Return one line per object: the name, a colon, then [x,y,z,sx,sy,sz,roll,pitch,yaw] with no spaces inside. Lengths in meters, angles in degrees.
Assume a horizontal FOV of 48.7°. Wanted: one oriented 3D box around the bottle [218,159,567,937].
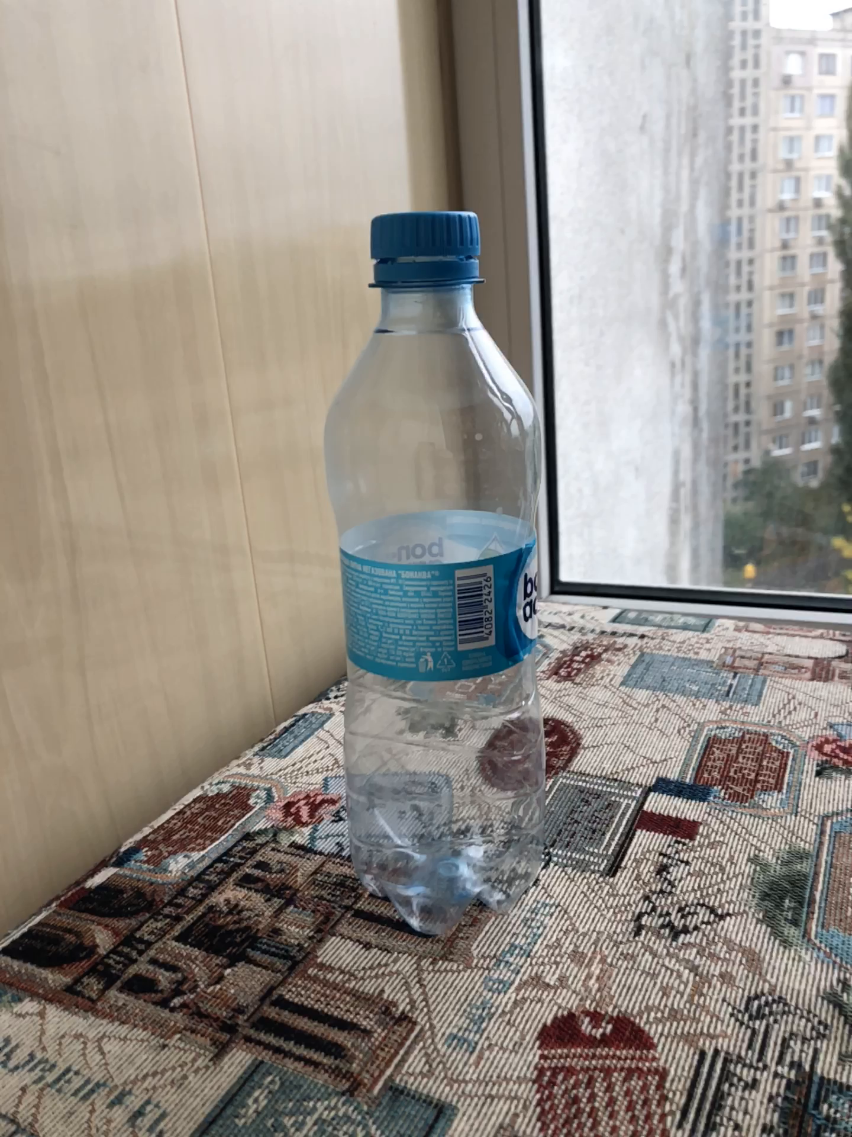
bottle: [0.001,-0.005,0.287,0.070,0.209,0.080,-1,18,13]
